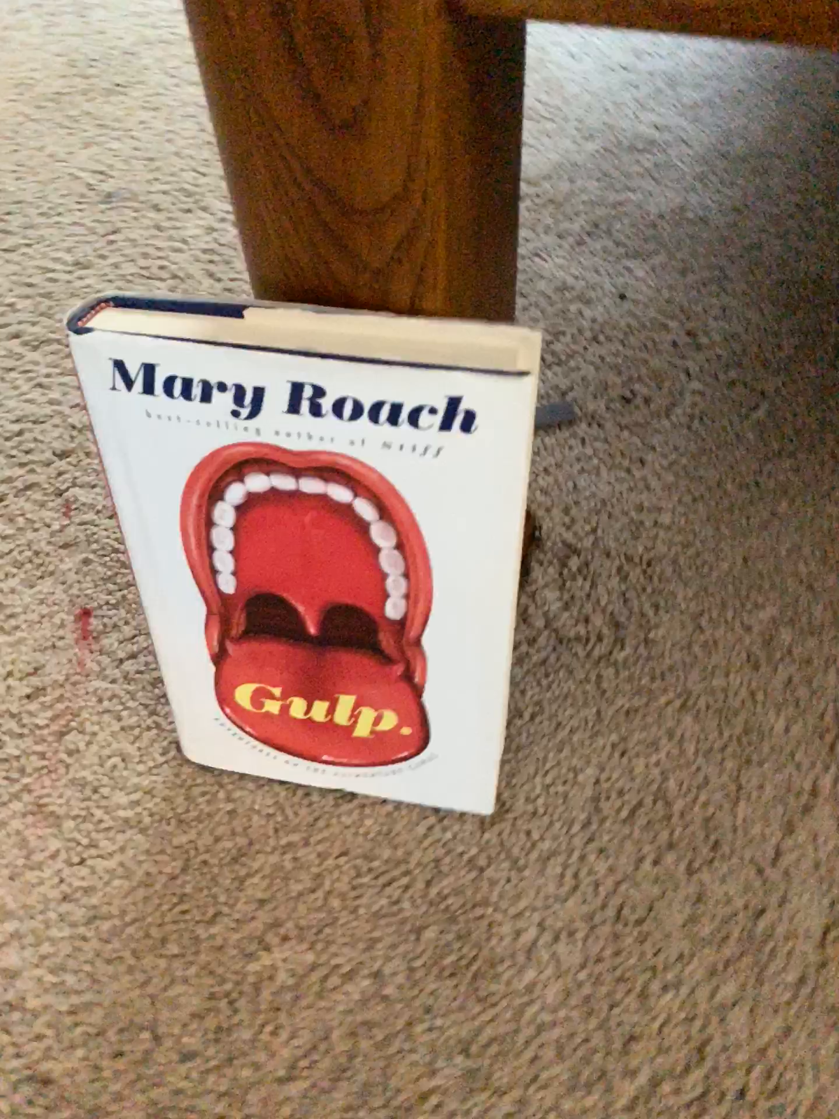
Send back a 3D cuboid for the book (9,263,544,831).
[{"bbox_3d":[-0.043,0.010,0.338,0.160,0.229,0.040,8,41,10],"label":"book"}]
